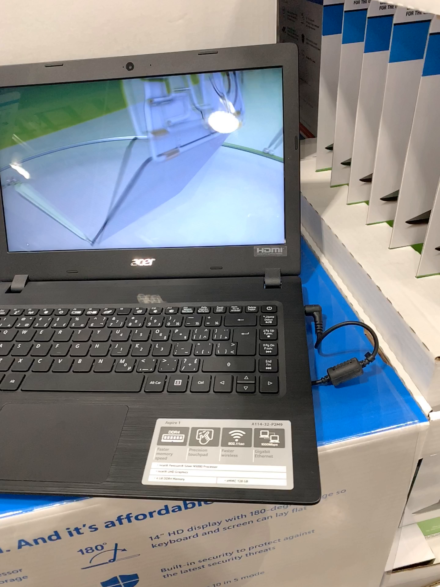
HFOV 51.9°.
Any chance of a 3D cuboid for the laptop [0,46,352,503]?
[{"bbox_3d":[-0.092,-0.049,0.358,0.318,0.186,0.329,-1,37,7],"label":"laptop"}]
